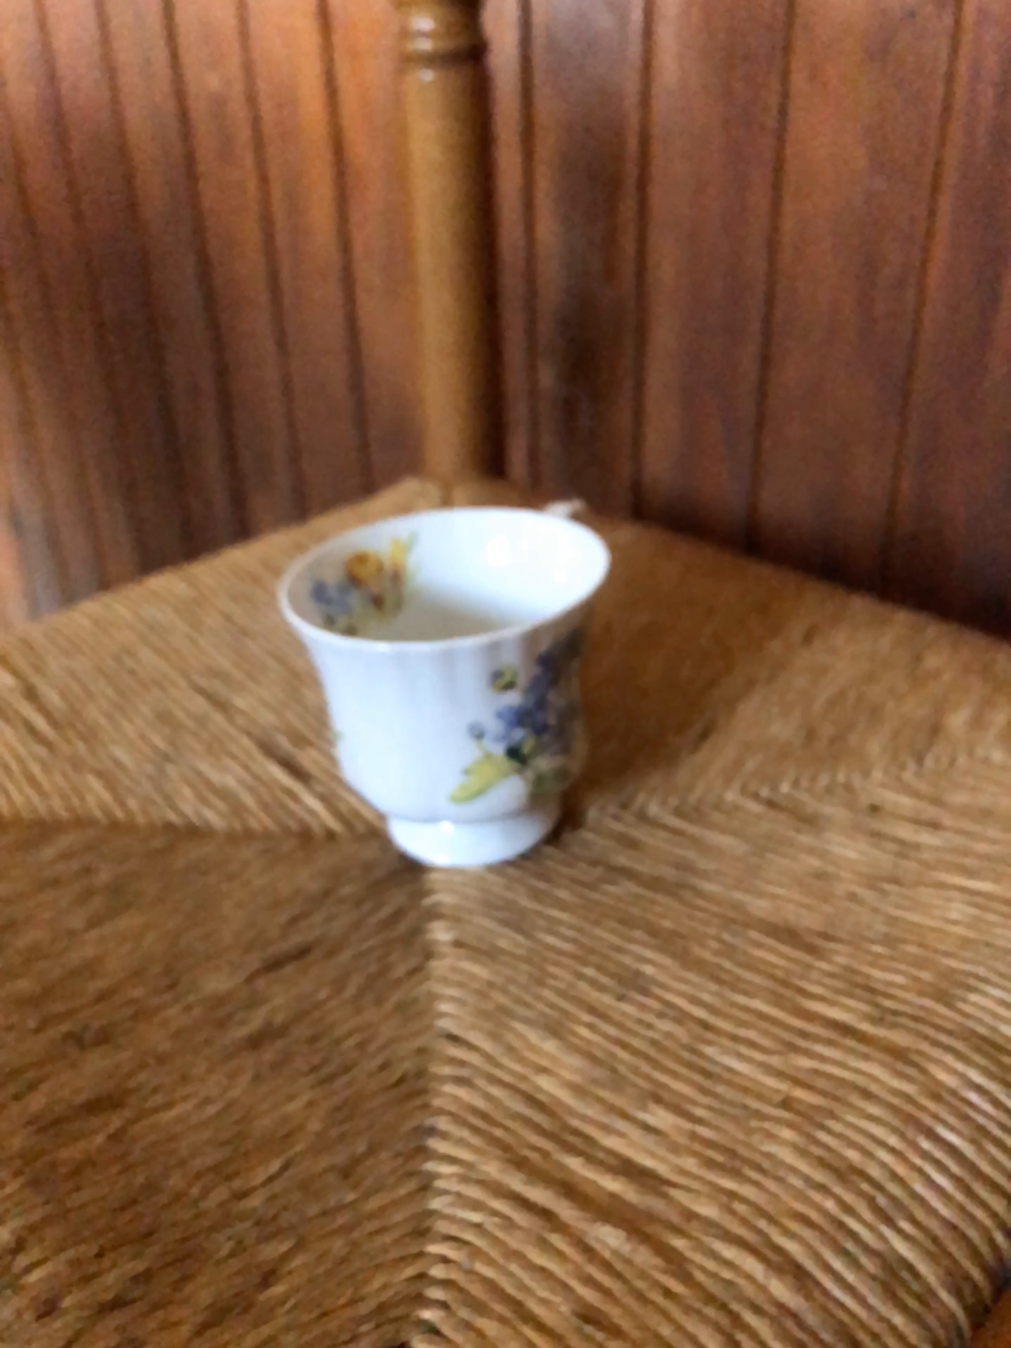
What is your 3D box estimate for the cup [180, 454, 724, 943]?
[{"bbox_3d":[-0.007,-0.004,0.330,0.090,0.070,0.131,16,34,29],"label":"cup"}]
